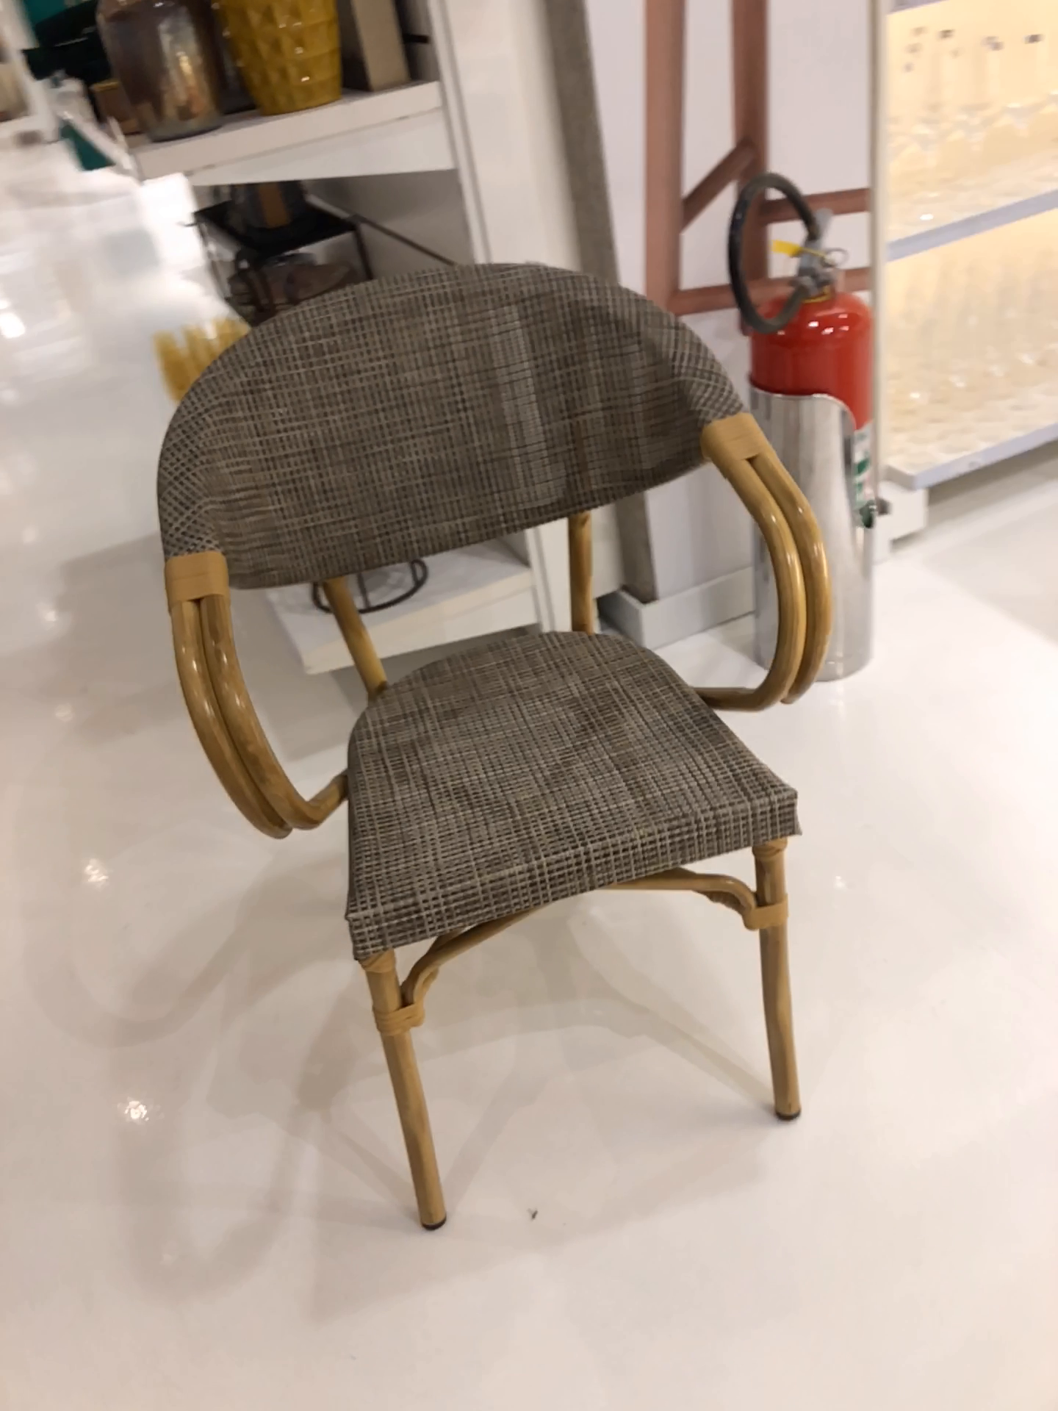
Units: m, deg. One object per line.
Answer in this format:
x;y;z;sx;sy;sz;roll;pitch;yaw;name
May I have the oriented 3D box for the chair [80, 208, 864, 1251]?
-0.029;0.007;1.207;0.520;0.784;0.574;-15;34;-5;chair
